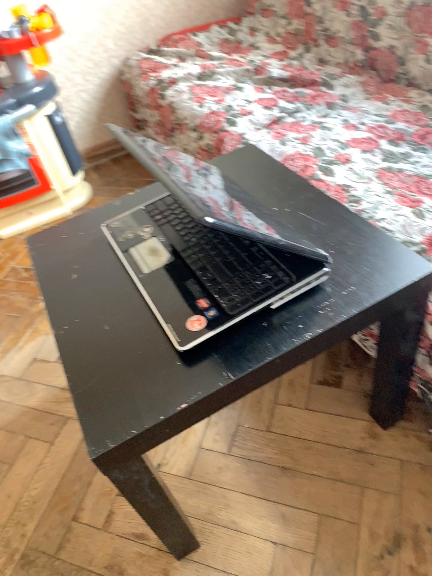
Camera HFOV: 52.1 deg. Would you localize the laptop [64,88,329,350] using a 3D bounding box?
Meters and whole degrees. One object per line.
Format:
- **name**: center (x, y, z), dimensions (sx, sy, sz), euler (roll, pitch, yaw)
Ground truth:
- **laptop**: center (-0.044, -0.135, 0.690), dimensions (0.251, 0.177, 0.367), euler (-27, 44, -13)
